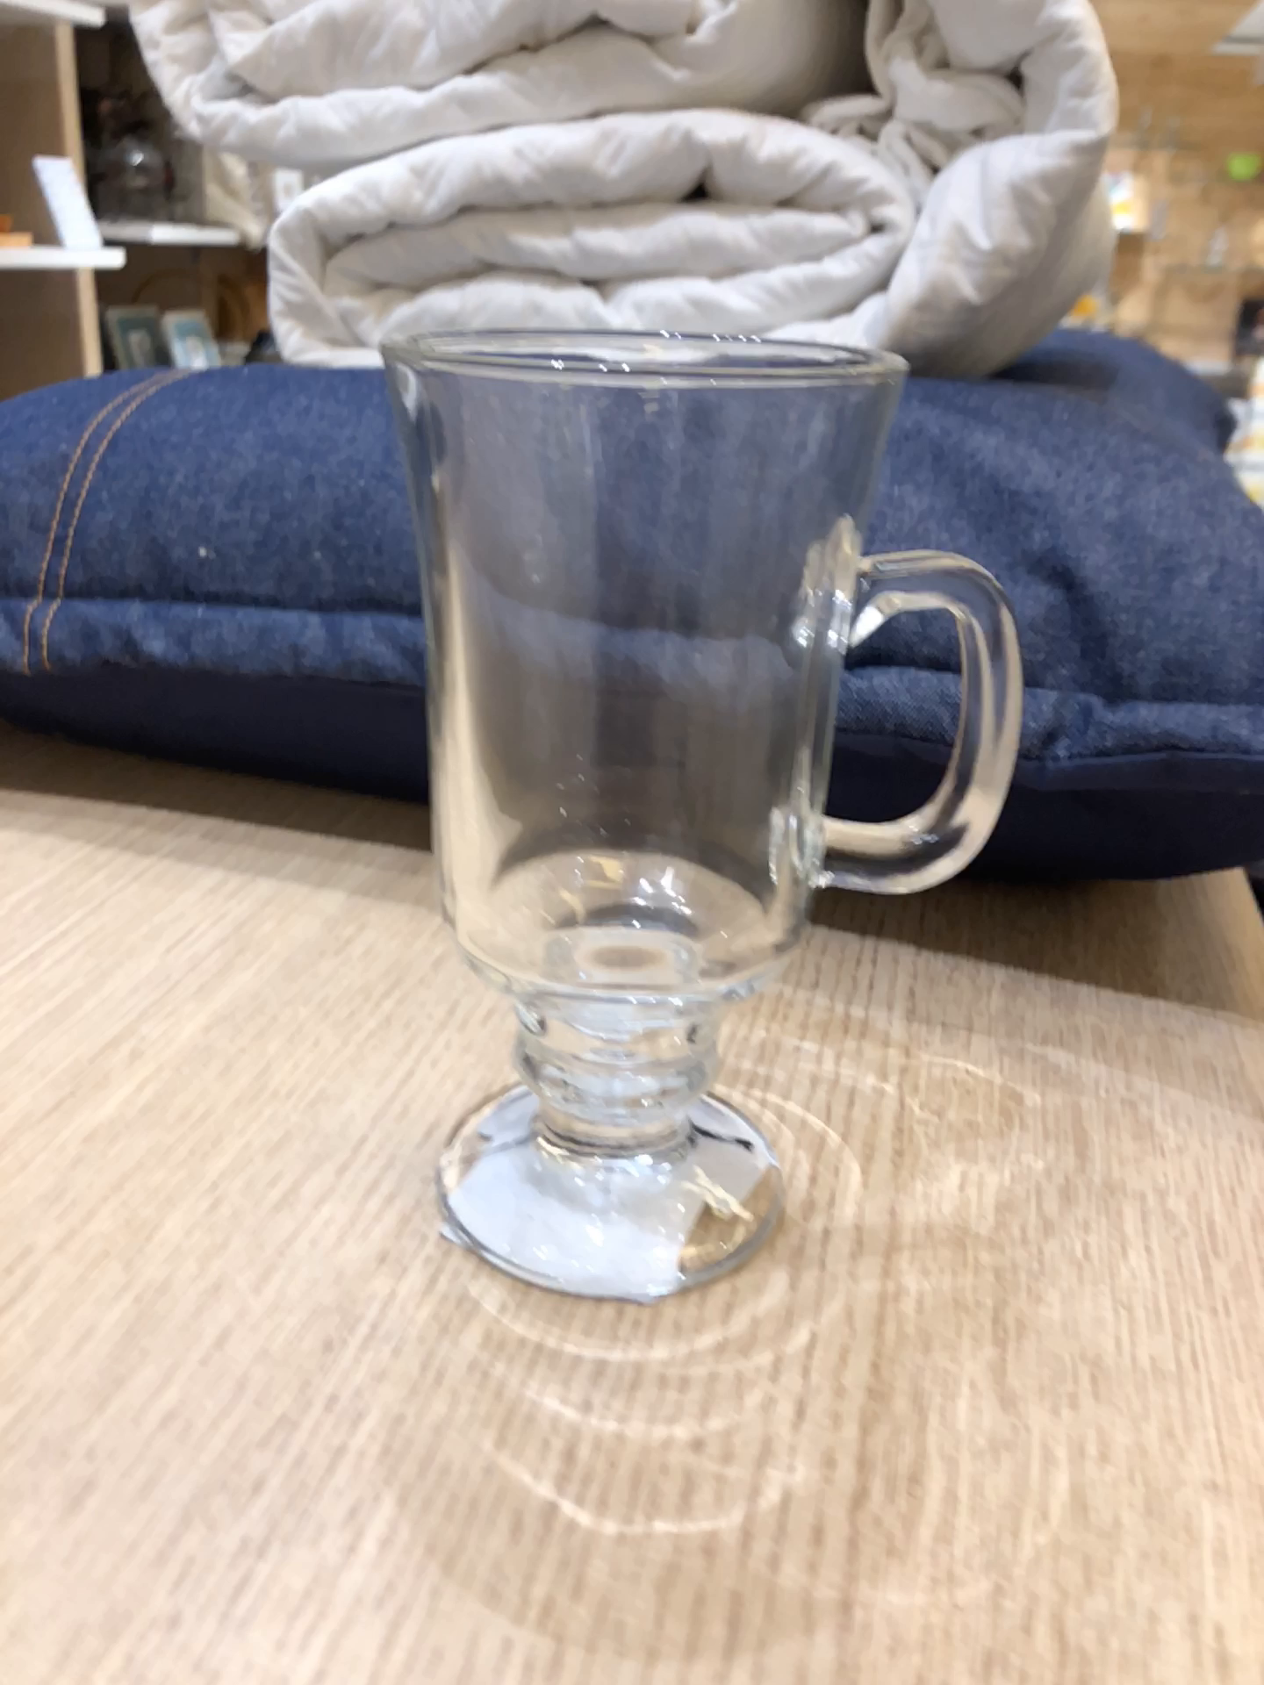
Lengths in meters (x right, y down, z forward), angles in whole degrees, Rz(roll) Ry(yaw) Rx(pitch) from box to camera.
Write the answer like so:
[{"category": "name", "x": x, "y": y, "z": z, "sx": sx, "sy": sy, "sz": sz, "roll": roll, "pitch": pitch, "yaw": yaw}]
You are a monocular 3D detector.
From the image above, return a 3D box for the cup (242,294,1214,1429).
[{"category": "cup", "x": 0.012, "y": -0.005, "z": 0.228, "sx": 0.110, "sy": 0.149, "sz": 0.091, "roll": 6, "pitch": 22, "yaw": 7}]

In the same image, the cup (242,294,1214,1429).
[{"category": "cup", "x": 0.012, "y": -0.005, "z": 0.228, "sx": 0.110, "sy": 0.149, "sz": 0.091, "roll": 6, "pitch": 22, "yaw": 7}]
